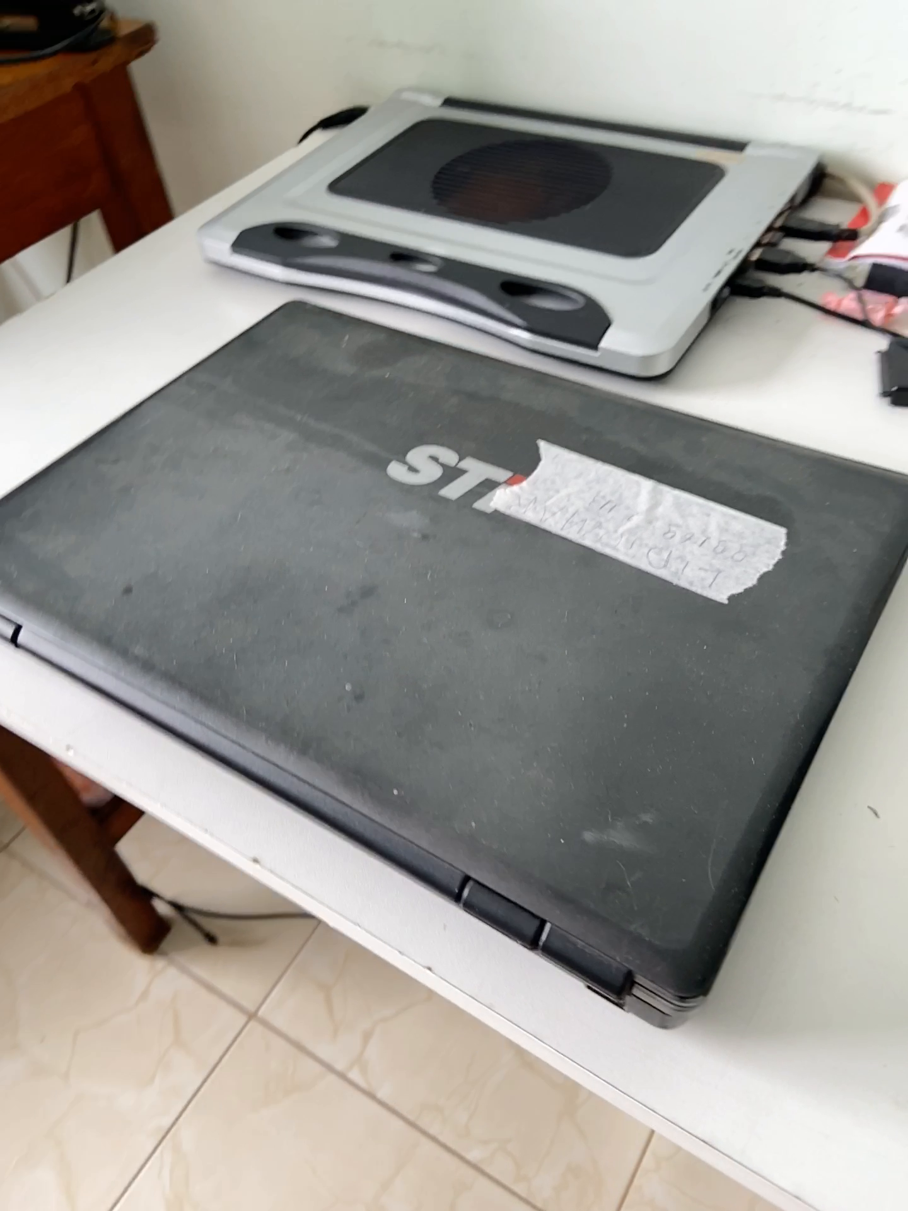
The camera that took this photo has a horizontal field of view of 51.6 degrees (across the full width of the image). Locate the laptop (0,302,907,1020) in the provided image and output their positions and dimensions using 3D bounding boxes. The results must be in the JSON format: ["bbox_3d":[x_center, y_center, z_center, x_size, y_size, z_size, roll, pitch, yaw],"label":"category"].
[{"bbox_3d":[-0.018,-0.030,0.378,0.338,0.006,0.235,23,53,26],"label":"laptop"}]
